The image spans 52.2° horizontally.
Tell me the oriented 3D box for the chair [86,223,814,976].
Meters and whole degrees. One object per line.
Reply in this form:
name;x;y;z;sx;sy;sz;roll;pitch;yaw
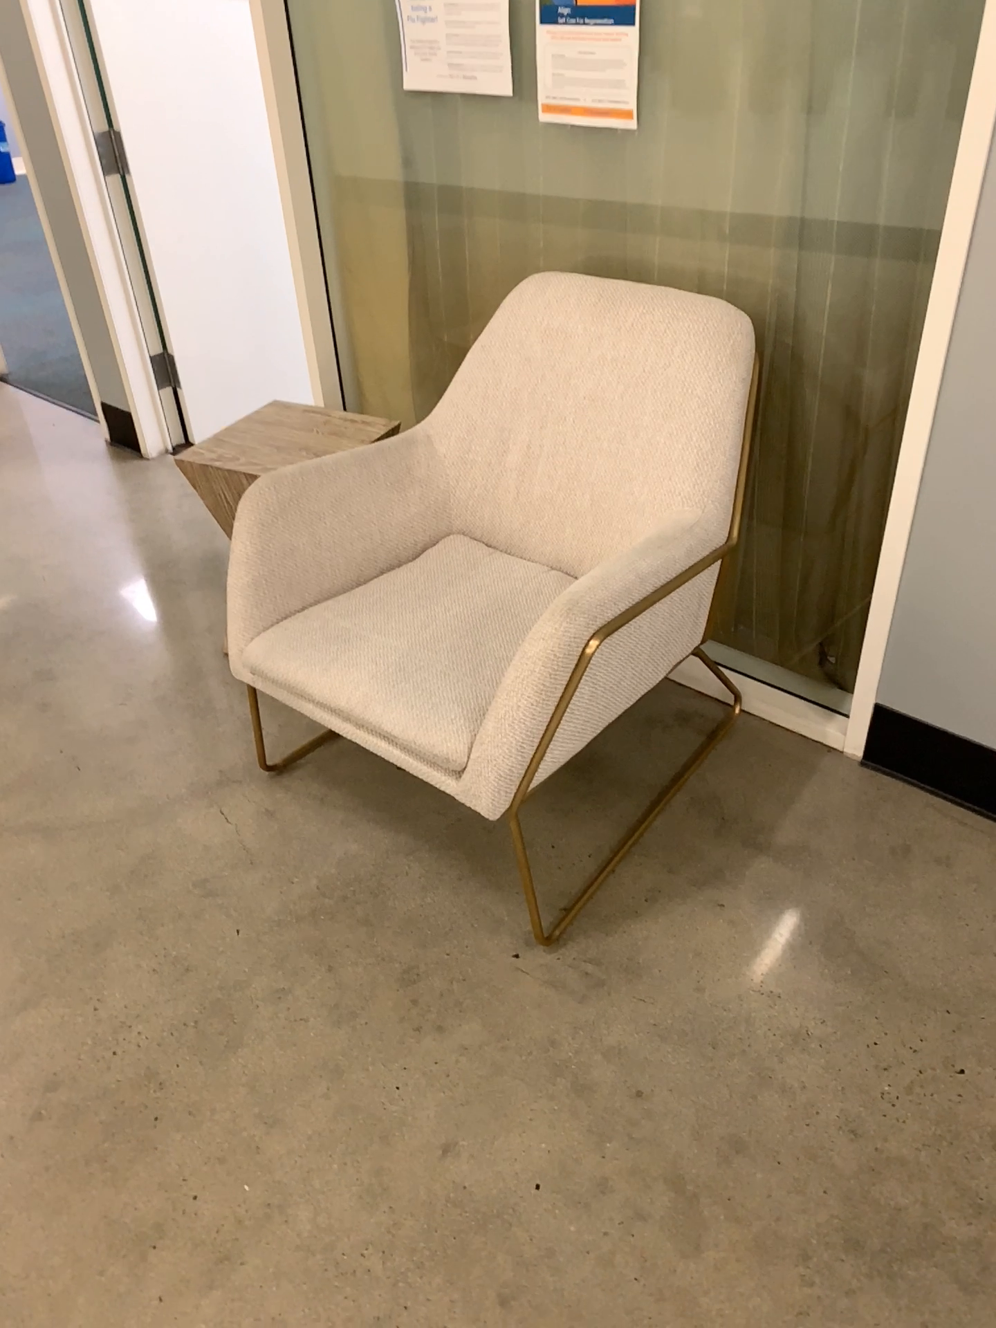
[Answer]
chair;-0.038;-0.183;1.774;0.783;0.865;0.772;23;43;31
